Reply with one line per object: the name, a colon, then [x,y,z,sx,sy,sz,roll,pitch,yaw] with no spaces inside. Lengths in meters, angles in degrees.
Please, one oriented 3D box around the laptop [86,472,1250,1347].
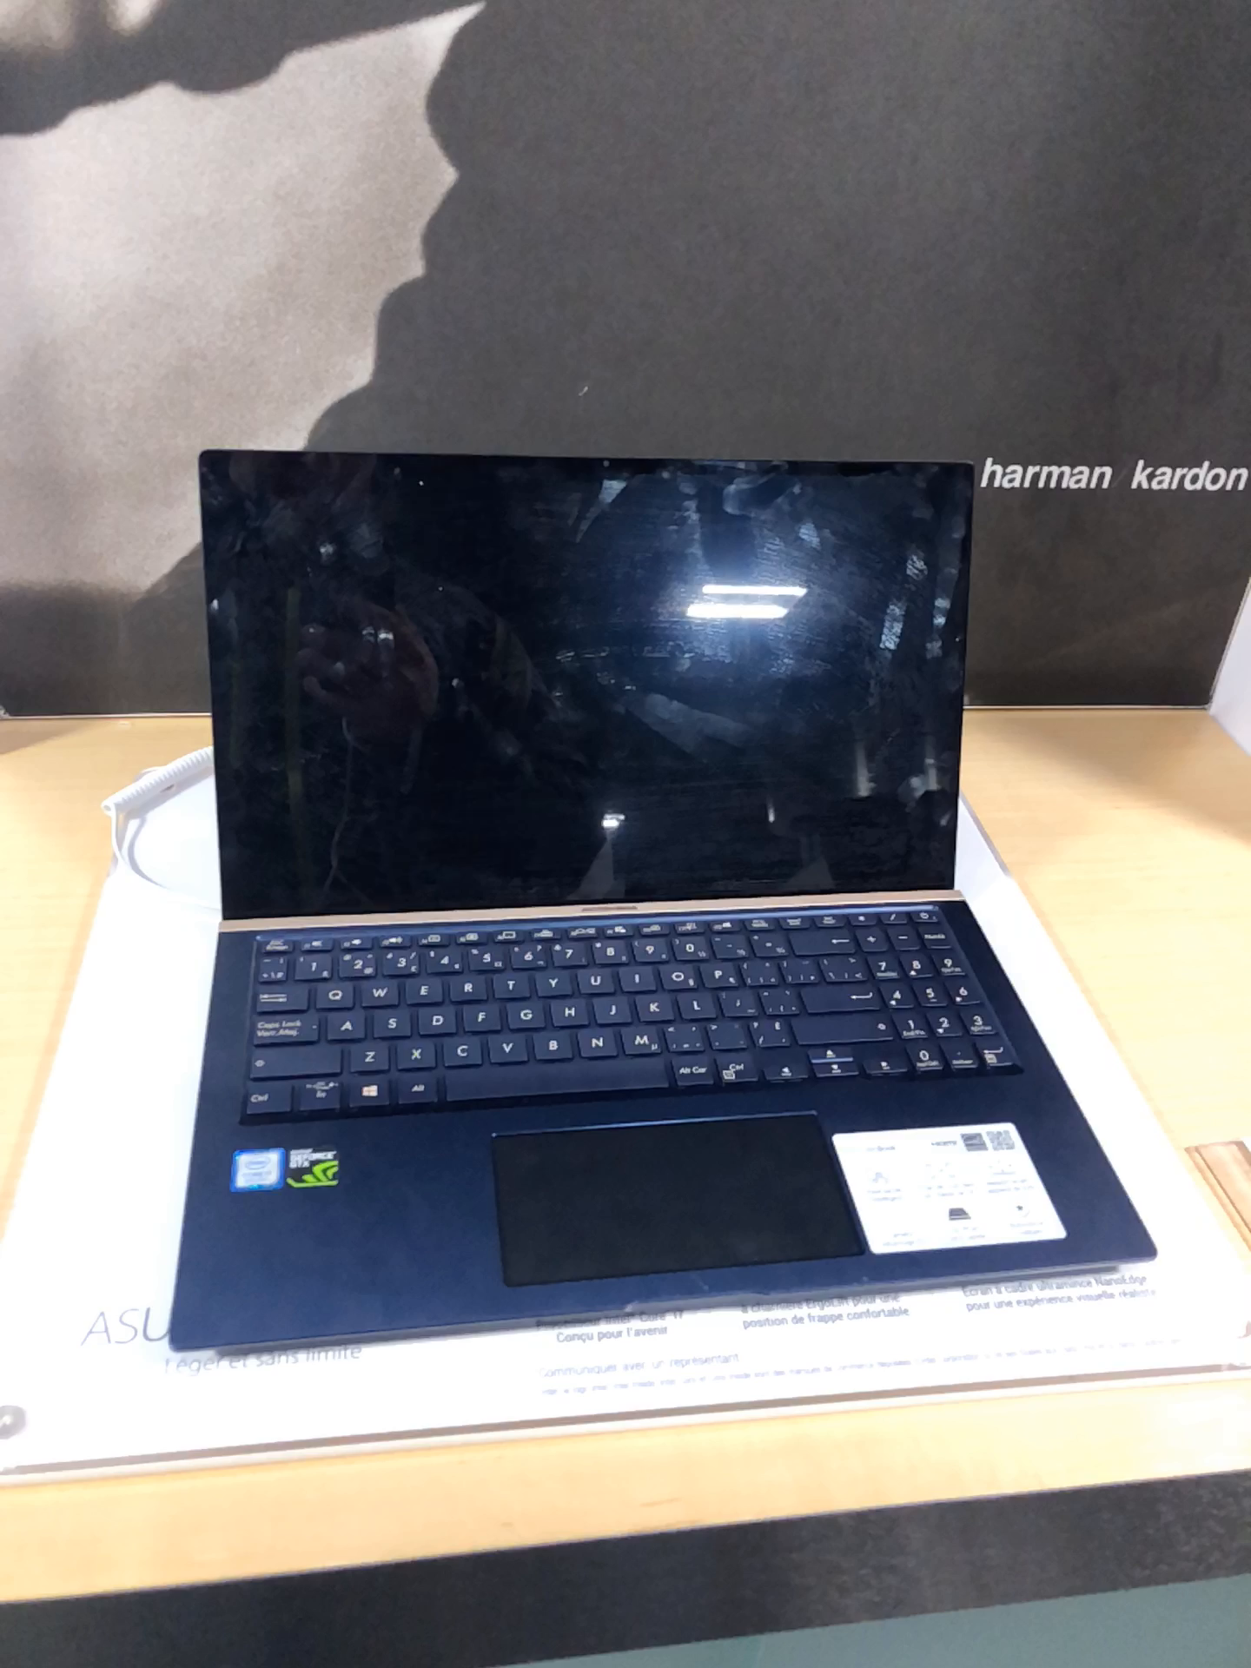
laptop: [0.008,-0.001,0.522,0.331,0.173,0.294,-2,35,-8]
